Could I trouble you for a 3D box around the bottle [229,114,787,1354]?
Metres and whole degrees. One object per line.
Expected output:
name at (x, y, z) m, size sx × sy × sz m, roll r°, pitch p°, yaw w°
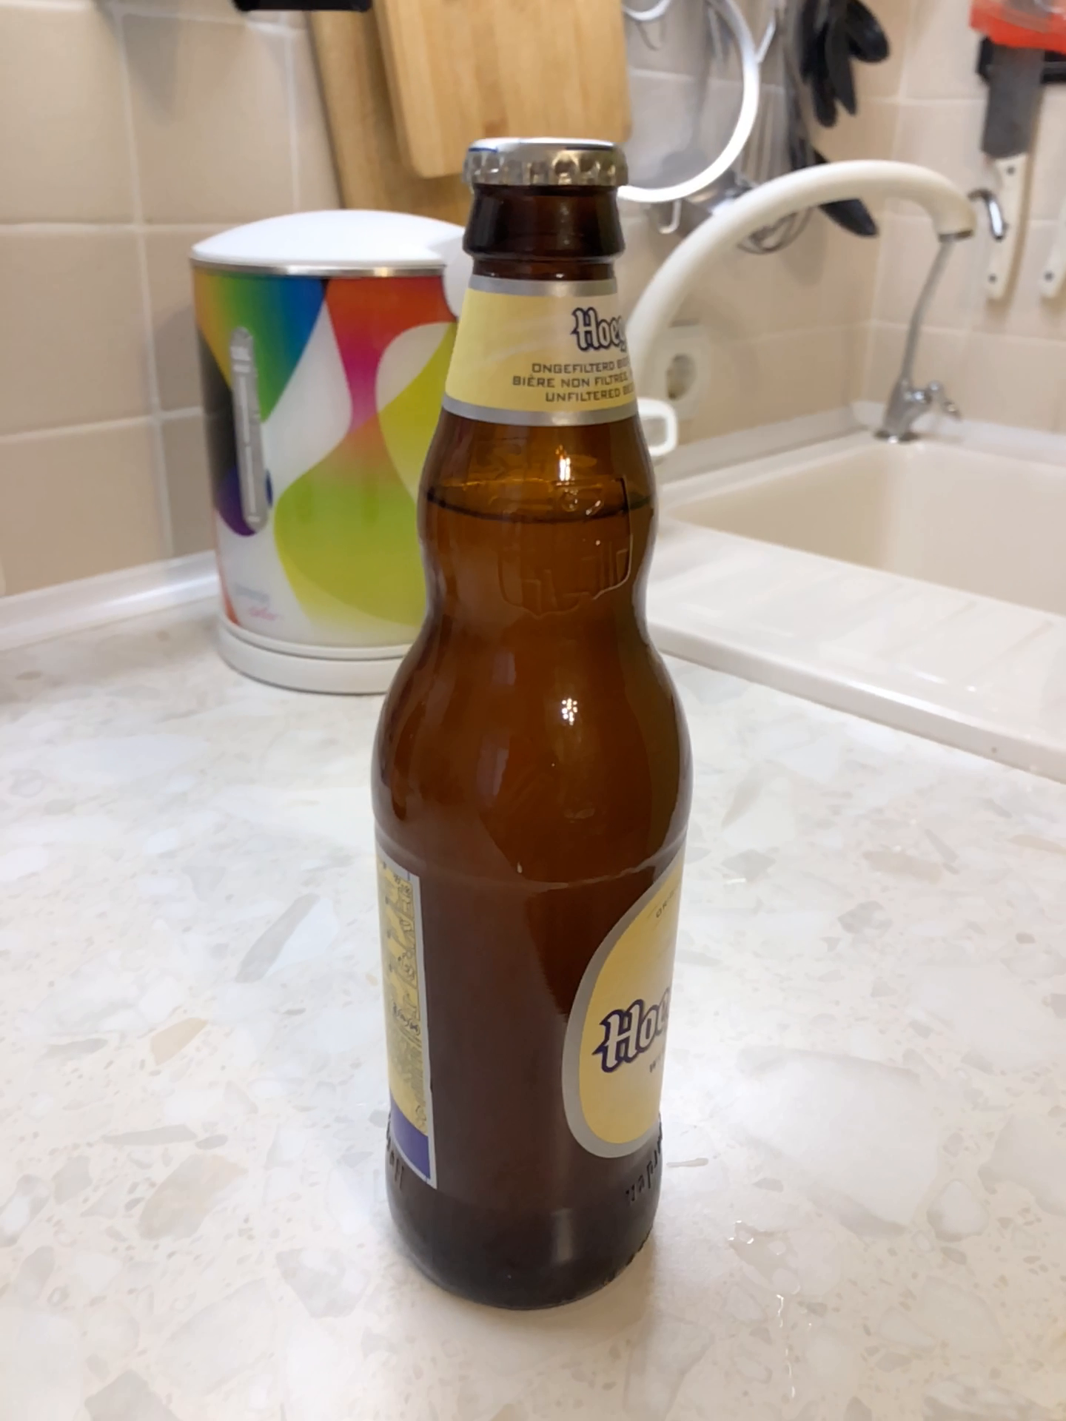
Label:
bottle at (-0.005, 0.015, 0.250) m, size 0.080 × 0.248 × 0.070 m, roll 2°, pitch 23°, yaw 2°
